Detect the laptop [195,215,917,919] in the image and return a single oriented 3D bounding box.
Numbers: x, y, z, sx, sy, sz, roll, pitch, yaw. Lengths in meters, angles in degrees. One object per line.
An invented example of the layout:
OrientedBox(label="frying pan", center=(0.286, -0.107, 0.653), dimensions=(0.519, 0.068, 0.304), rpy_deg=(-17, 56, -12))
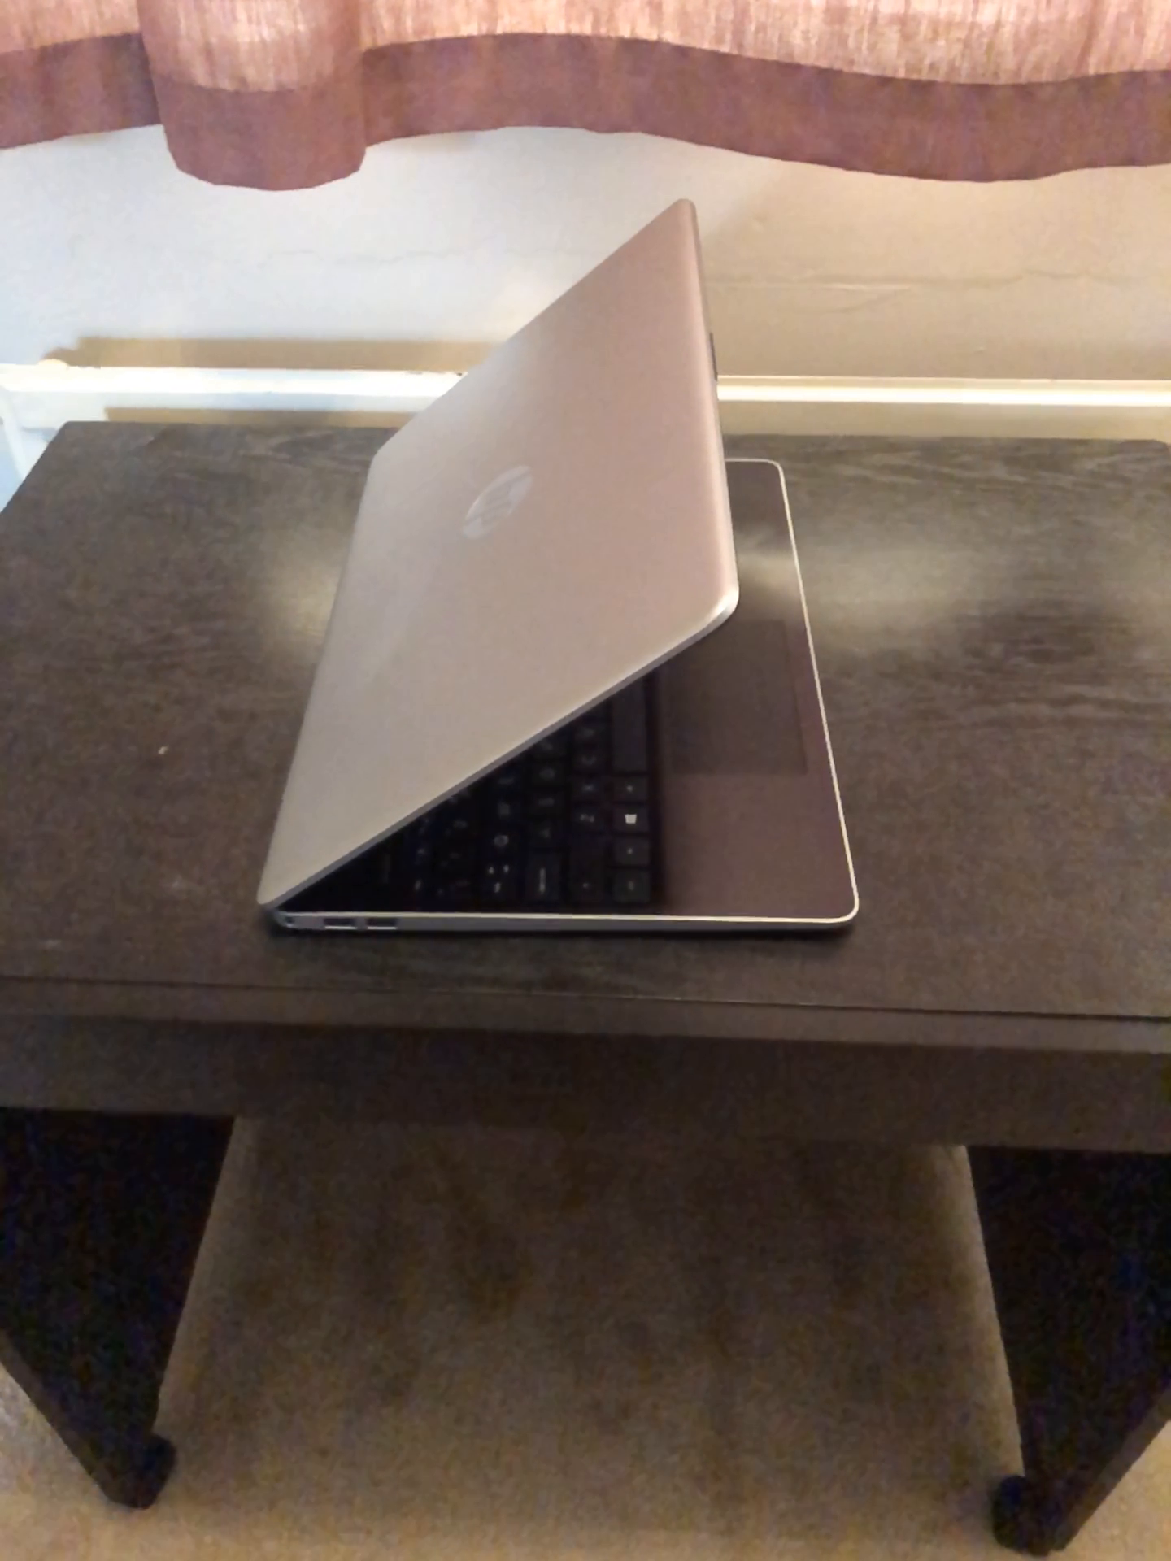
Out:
OrientedBox(label="laptop", center=(-0.004, -0.121, 0.603), dimensions=(0.236, 0.141, 0.363), rpy_deg=(1, 43, -1))
